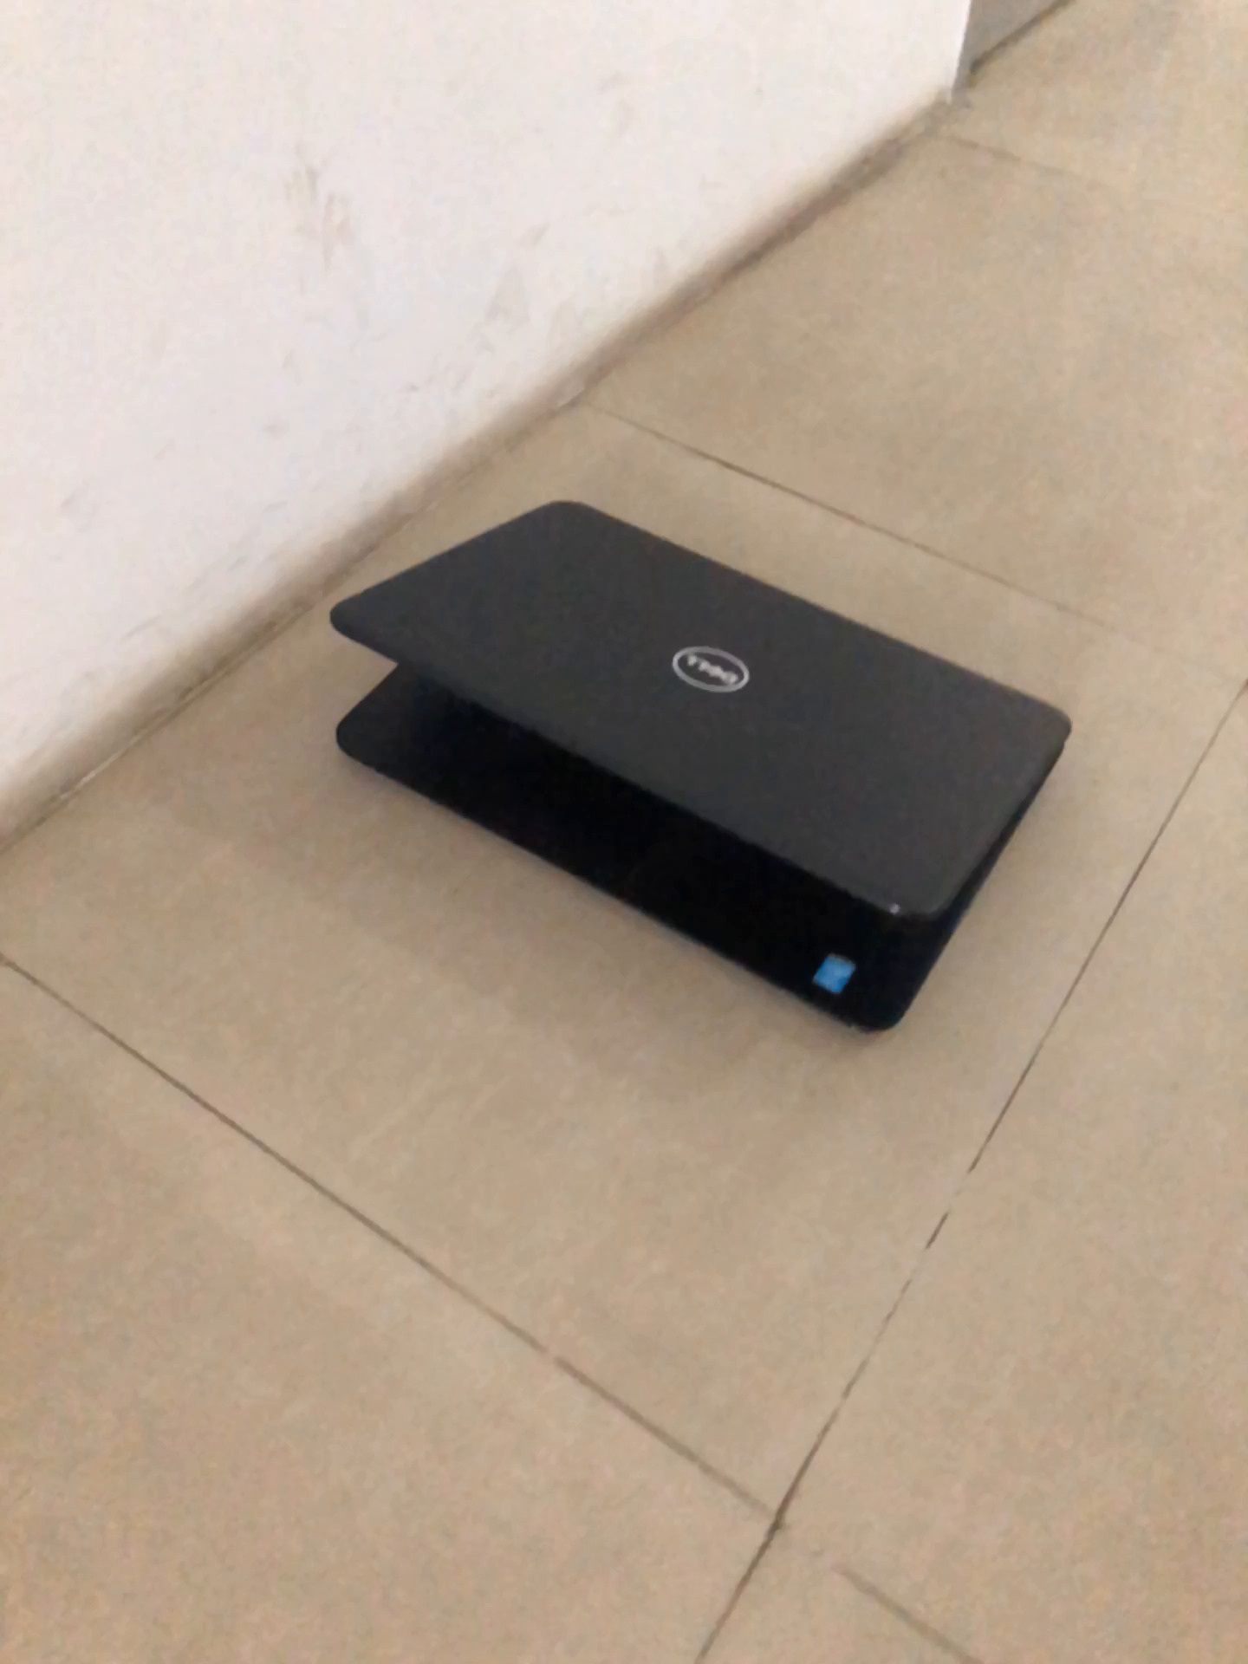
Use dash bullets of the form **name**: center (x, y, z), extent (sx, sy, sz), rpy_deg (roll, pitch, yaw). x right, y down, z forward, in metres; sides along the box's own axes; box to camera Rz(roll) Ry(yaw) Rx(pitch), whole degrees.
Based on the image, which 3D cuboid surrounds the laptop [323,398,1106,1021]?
- **laptop**: center (0.051, -0.091, 0.790), extent (0.357, 0.078, 0.248), rpy_deg (28, 57, 18)
